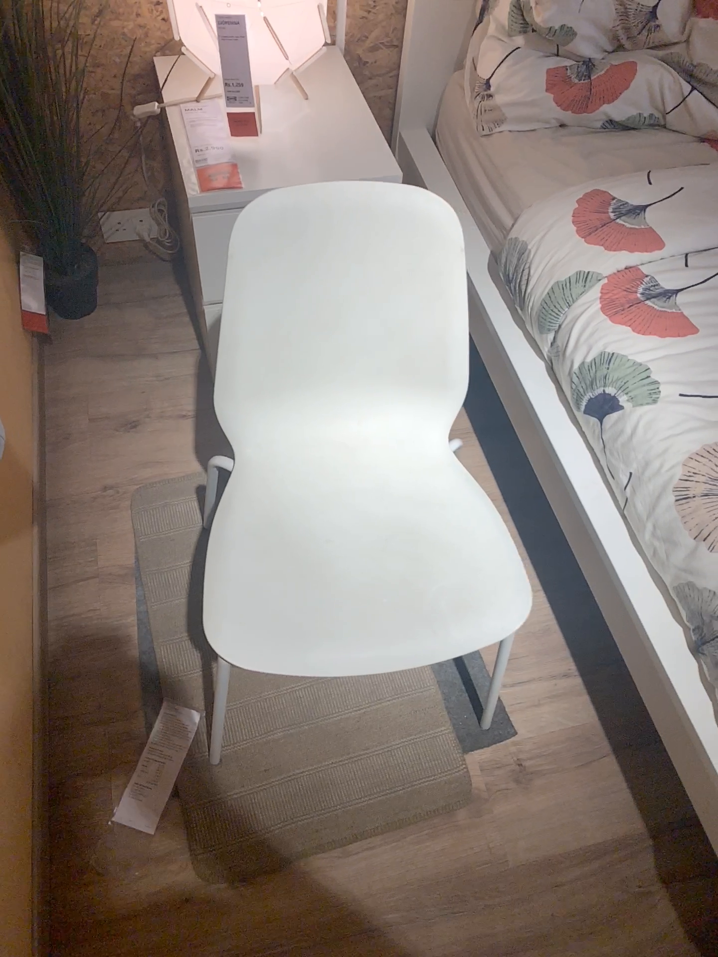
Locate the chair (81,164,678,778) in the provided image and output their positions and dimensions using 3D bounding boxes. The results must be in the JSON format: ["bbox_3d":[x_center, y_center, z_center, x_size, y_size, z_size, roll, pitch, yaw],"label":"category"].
[{"bbox_3d":[-0.036,0.039,1.113,0.540,0.758,0.561,-5,57,-8],"label":"chair"}]
